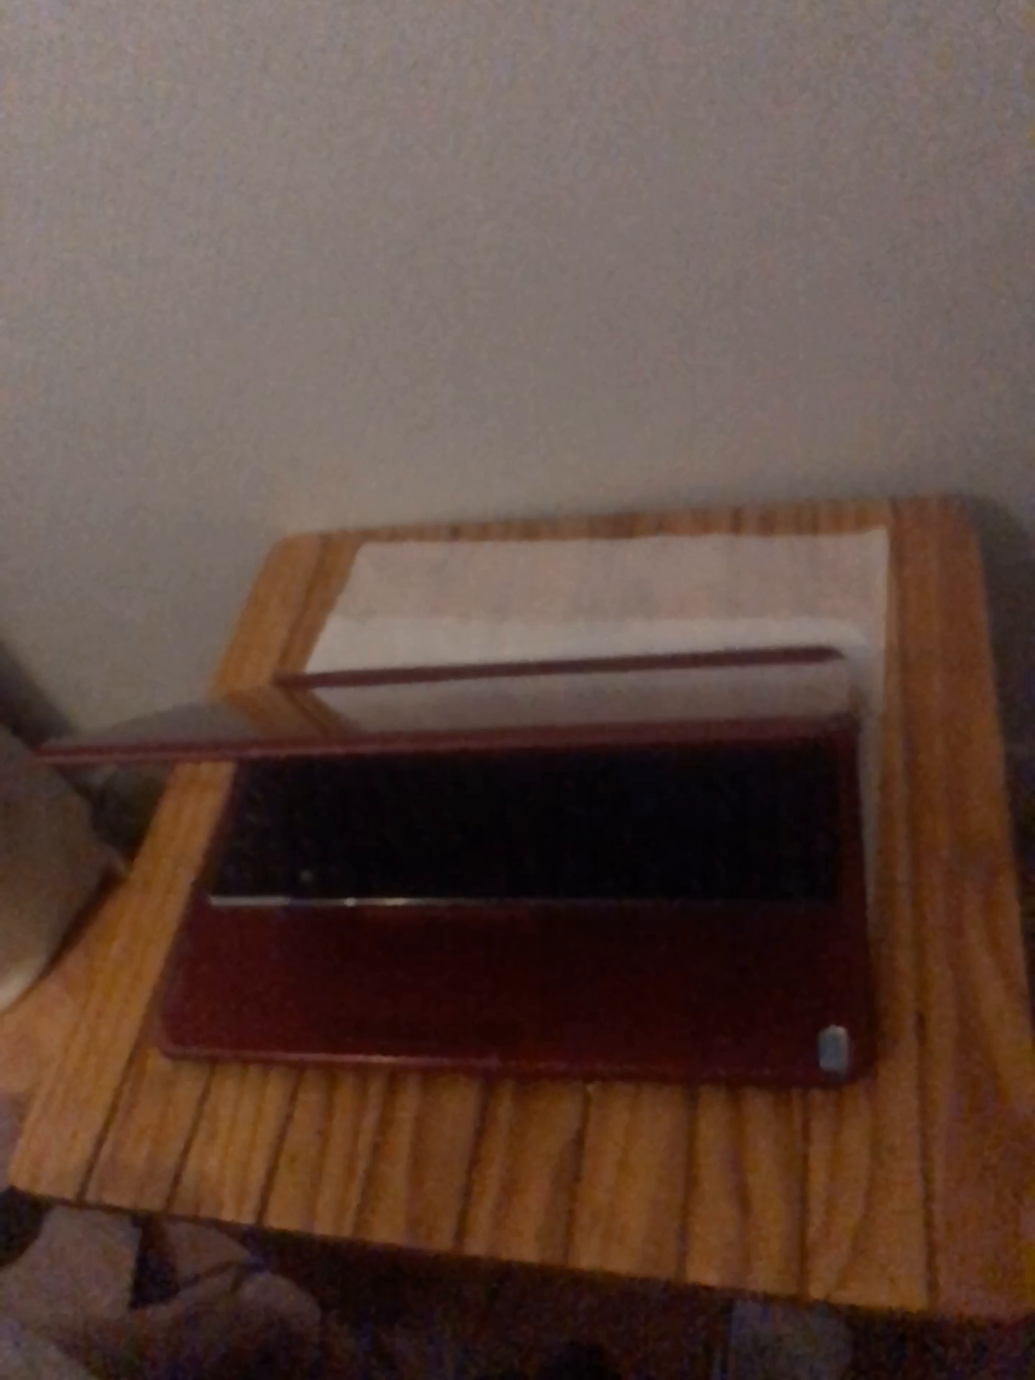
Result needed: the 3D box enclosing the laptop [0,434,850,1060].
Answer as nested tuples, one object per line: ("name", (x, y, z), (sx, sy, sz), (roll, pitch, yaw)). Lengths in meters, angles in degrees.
("laptop", (-0.029, 0.033, 0.602), (0.372, 0.168, 0.254), (-3, 49, 12))
